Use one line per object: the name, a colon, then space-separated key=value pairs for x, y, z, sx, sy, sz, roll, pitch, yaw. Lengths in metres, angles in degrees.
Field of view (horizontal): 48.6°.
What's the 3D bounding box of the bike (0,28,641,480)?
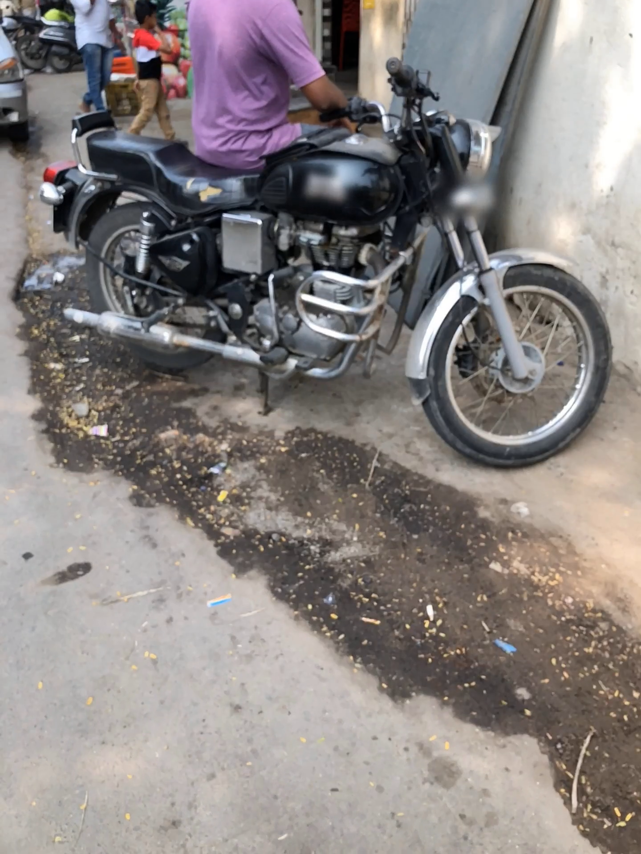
bike: x=0.014 y=-0.687 z=2.460 sx=1.918 sy=1.173 sz=0.844 roll=10 pitch=32 yaw=19
